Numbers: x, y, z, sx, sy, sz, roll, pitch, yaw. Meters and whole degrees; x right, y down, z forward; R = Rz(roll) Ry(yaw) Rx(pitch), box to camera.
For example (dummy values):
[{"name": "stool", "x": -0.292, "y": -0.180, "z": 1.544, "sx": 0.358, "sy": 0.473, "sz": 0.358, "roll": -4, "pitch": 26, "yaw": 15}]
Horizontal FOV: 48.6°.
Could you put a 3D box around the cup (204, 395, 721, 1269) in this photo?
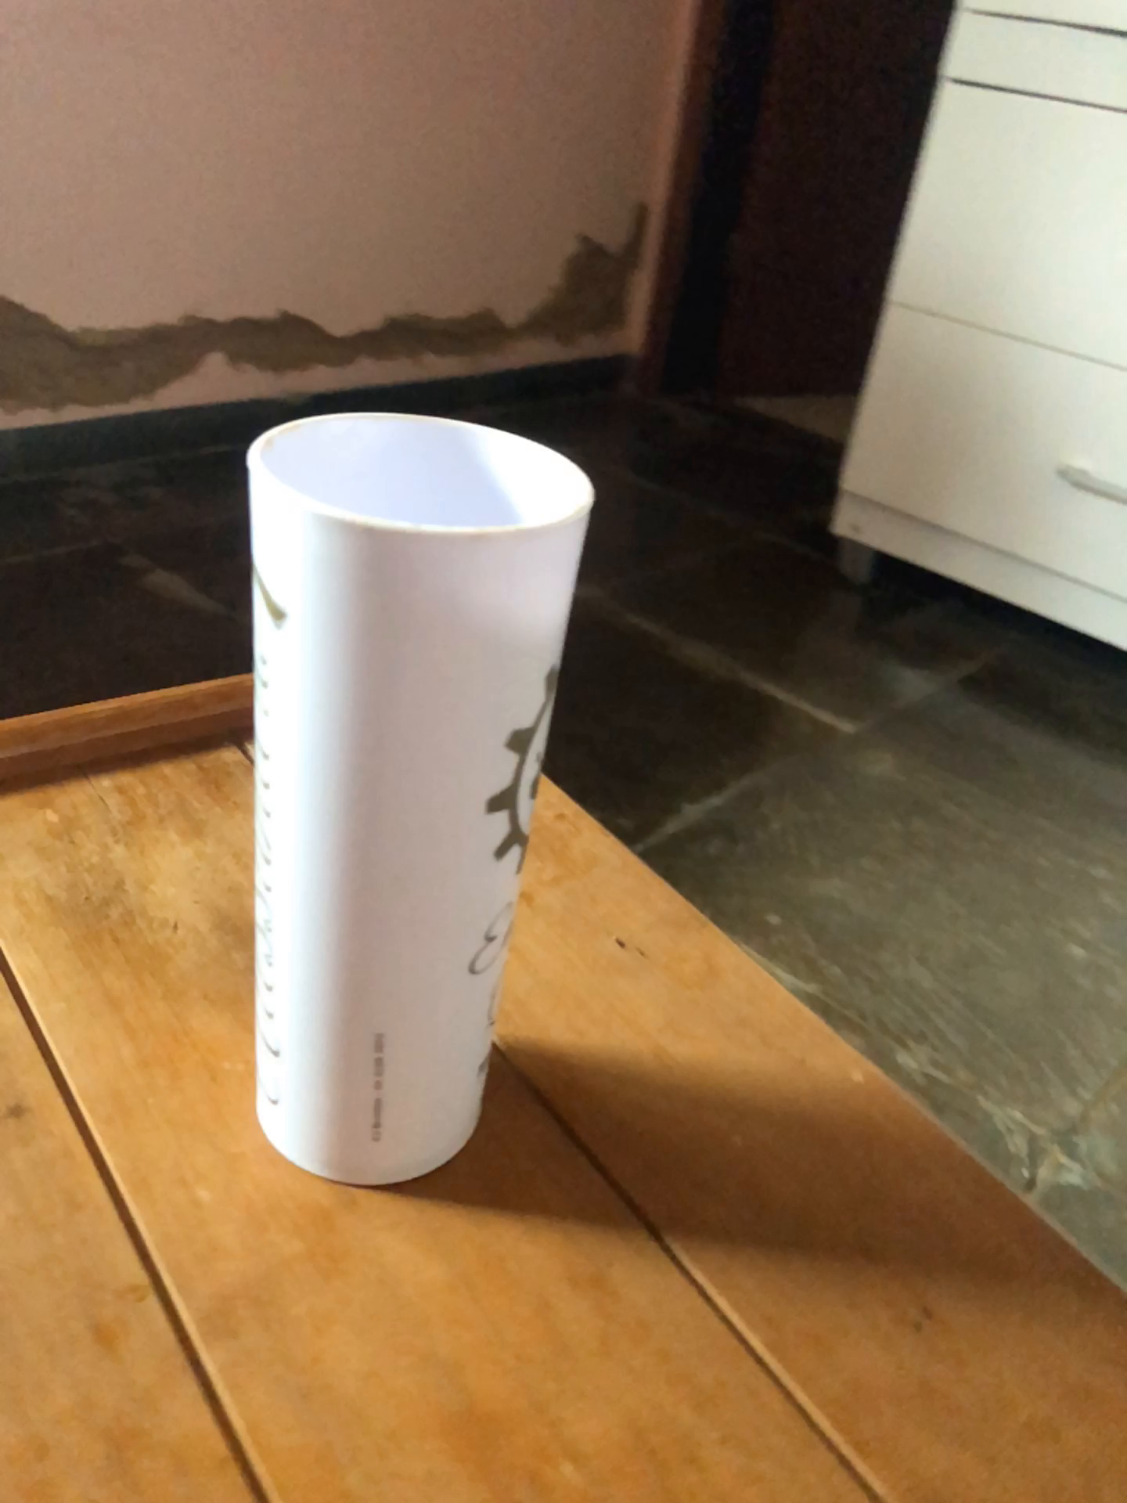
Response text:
[{"name": "cup", "x": -0.030, "y": 0.016, "z": 0.258, "sx": 0.070, "sy": 0.159, "sz": 0.070, "roll": 6, "pitch": 30, "yaw": -4}]
